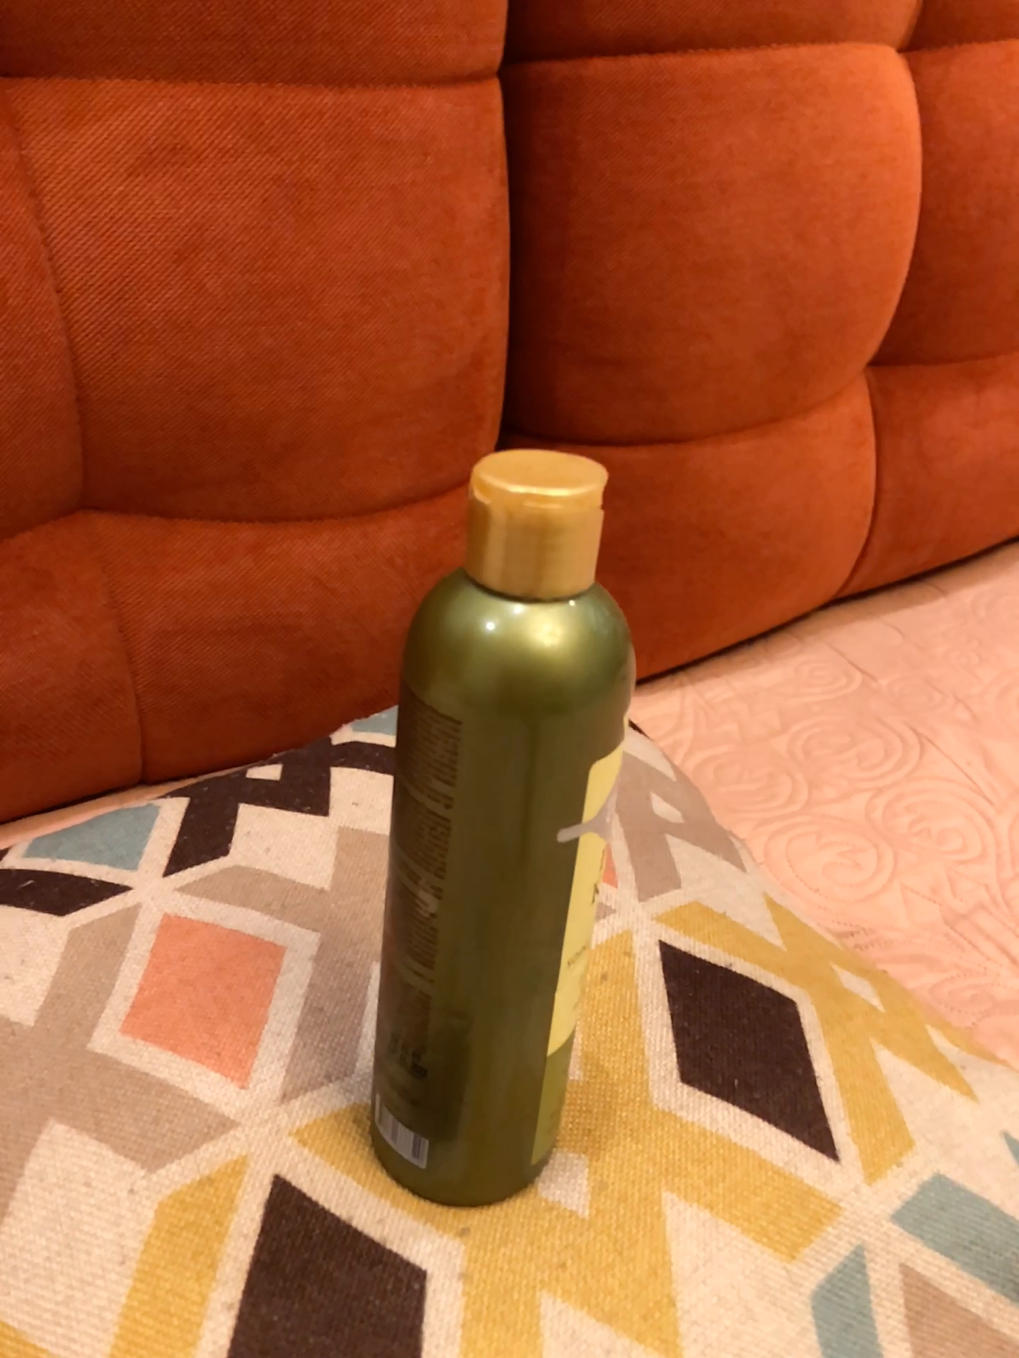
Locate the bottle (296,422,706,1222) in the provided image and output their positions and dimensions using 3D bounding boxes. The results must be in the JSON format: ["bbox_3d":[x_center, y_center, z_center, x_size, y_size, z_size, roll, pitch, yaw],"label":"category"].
[{"bbox_3d":[-0.010,0.039,0.259,0.070,0.179,0.060,0,29,-8],"label":"bottle"}]
